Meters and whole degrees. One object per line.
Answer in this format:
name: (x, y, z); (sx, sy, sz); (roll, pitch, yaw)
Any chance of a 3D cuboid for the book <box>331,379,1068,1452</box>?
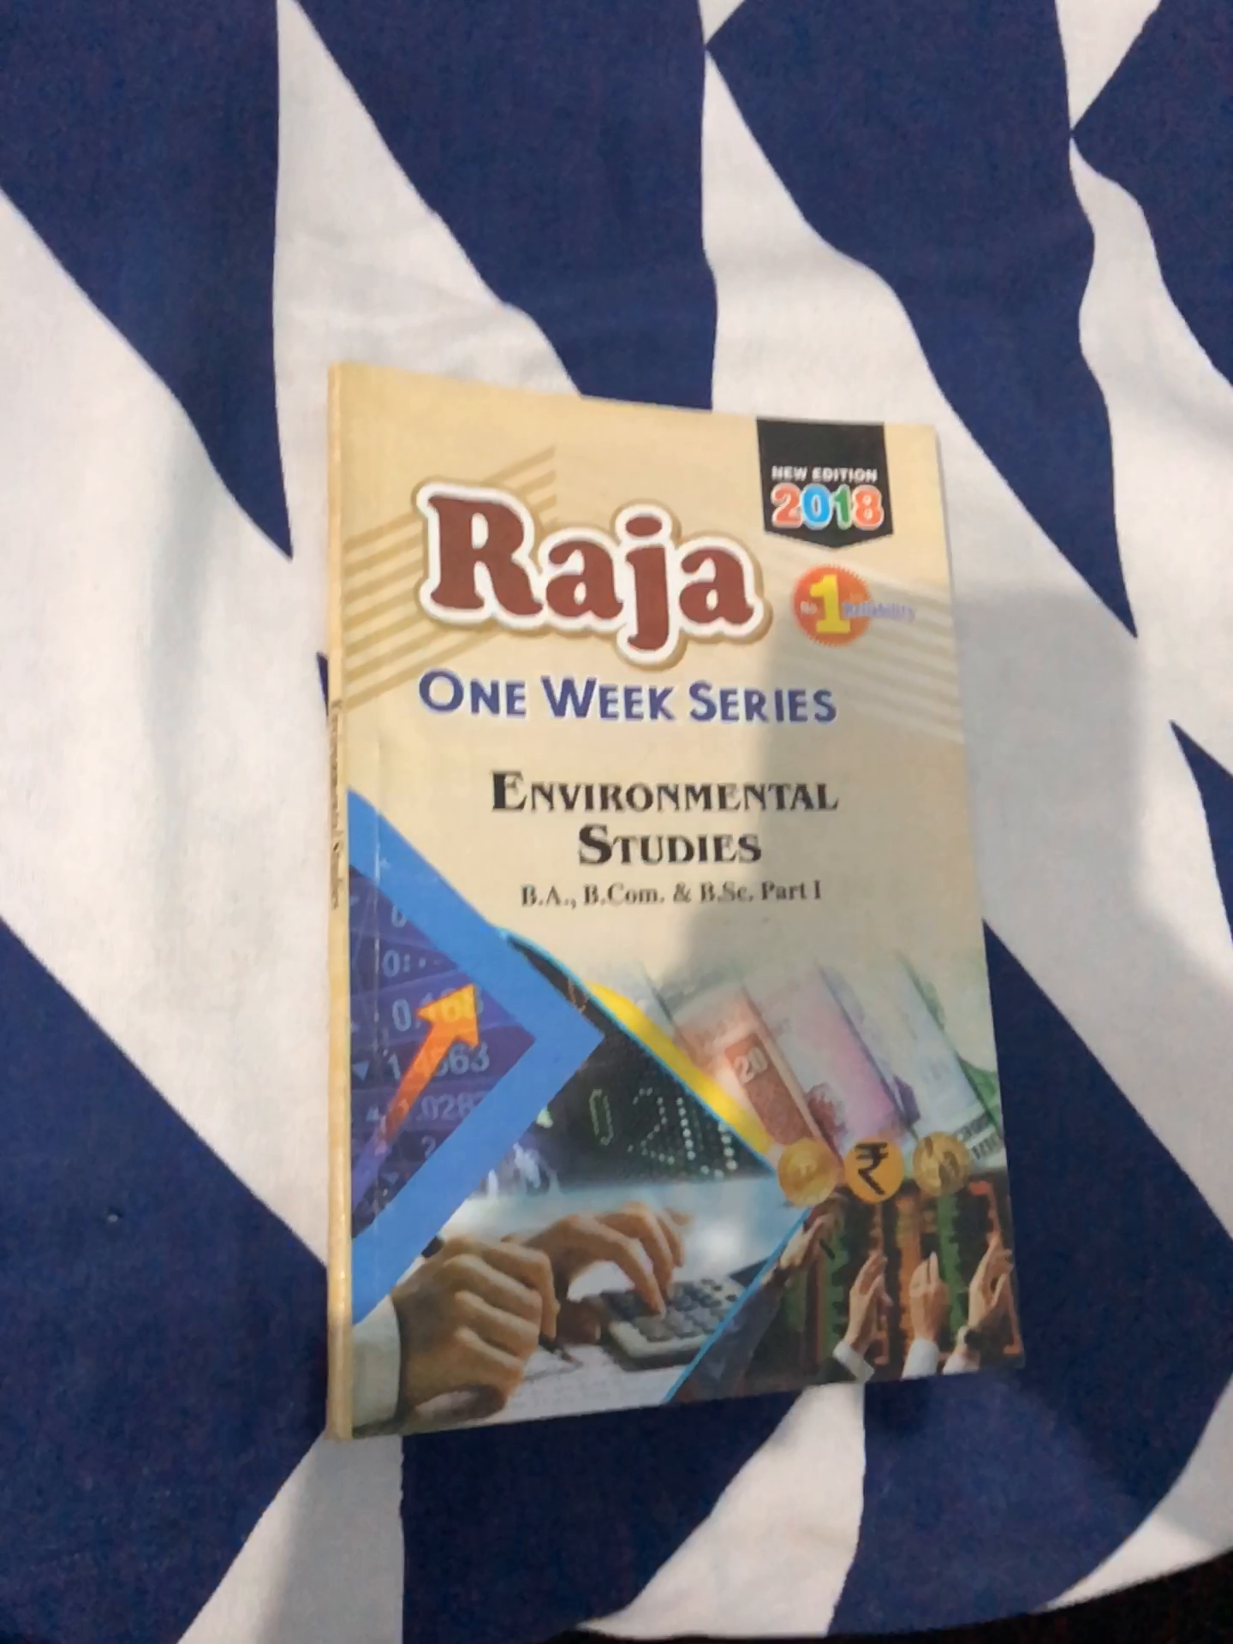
book: (0.015, 0.011, 0.276); (0.140, 0.010, 0.200); (0, 79, -13)
